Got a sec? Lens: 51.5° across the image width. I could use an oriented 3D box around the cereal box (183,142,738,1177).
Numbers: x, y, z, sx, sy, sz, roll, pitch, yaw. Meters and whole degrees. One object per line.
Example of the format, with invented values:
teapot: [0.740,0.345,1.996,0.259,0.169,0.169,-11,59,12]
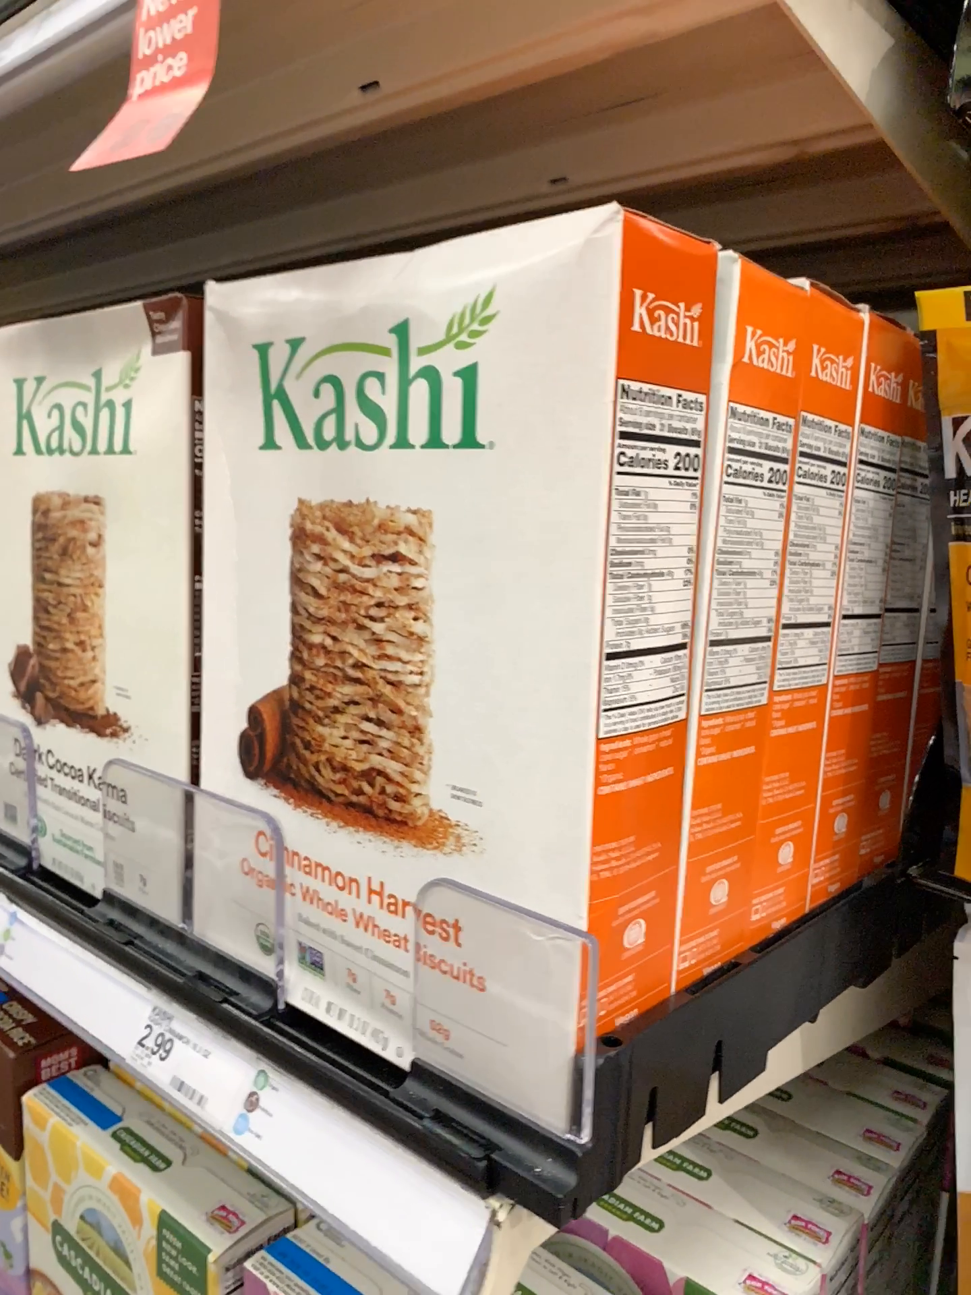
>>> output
cereal box: [-0.023,-0.002,0.359,0.190,0.280,0.070,9,9,42]
